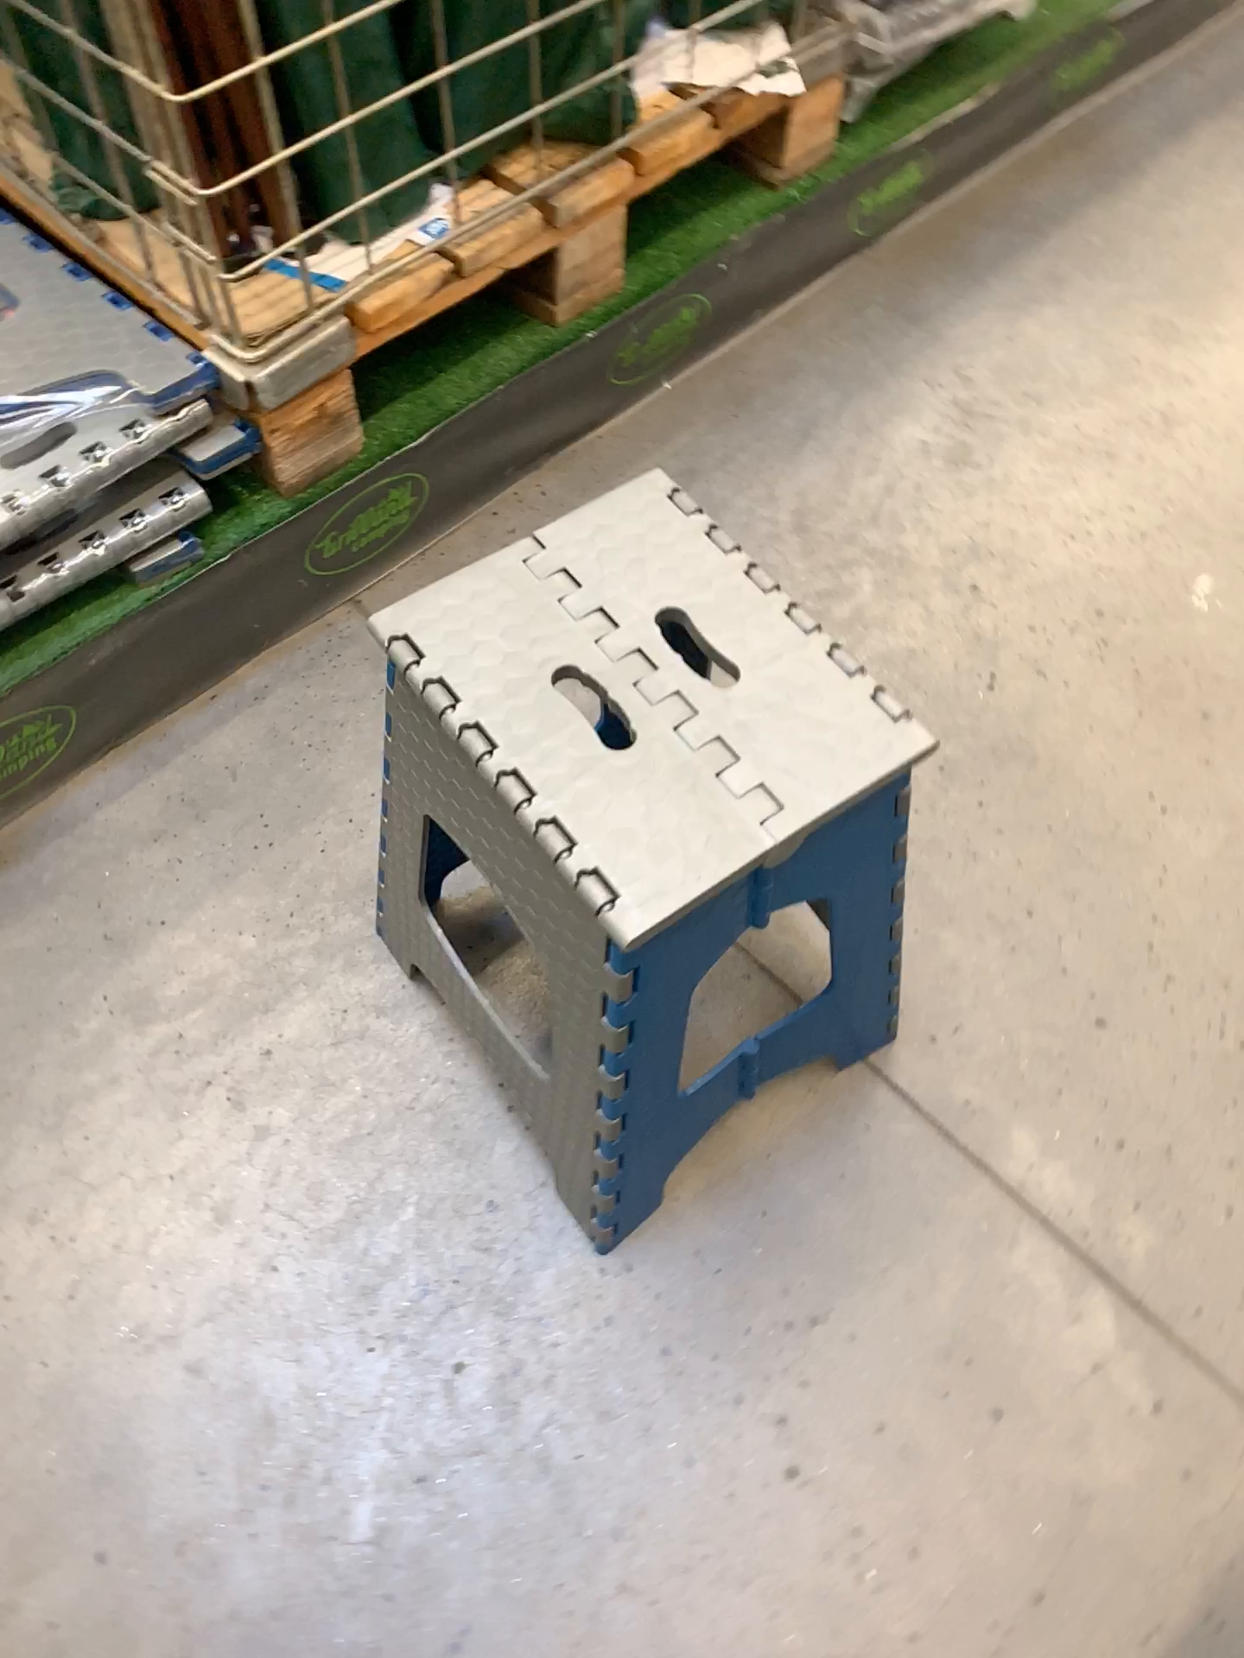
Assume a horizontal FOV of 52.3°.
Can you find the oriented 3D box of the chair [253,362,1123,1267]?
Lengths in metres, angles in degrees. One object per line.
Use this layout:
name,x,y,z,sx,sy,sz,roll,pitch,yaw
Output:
chair,0.027,0.009,0.882,0.340,0.419,0.351,-31,64,-18
